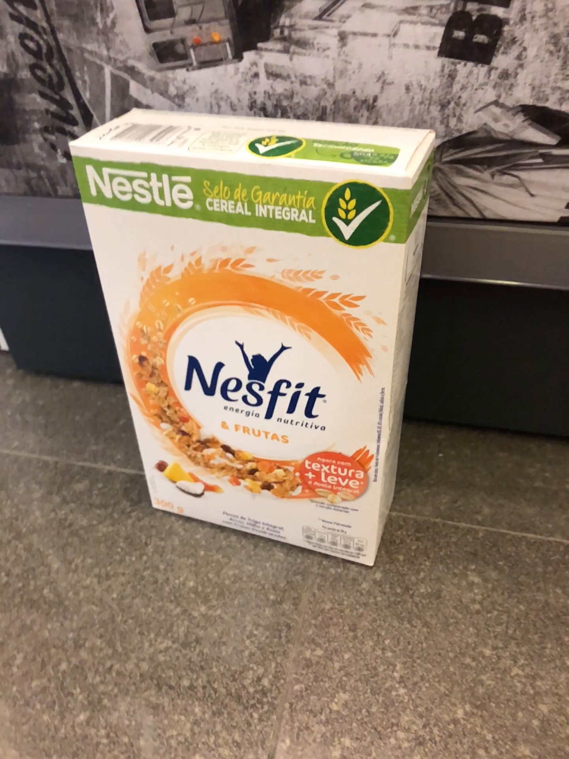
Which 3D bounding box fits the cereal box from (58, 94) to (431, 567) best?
[{"bbox_3d":[-0.011,-0.016,0.357,0.150,0.248,0.070,11,41,16],"label":"cereal box"}]
